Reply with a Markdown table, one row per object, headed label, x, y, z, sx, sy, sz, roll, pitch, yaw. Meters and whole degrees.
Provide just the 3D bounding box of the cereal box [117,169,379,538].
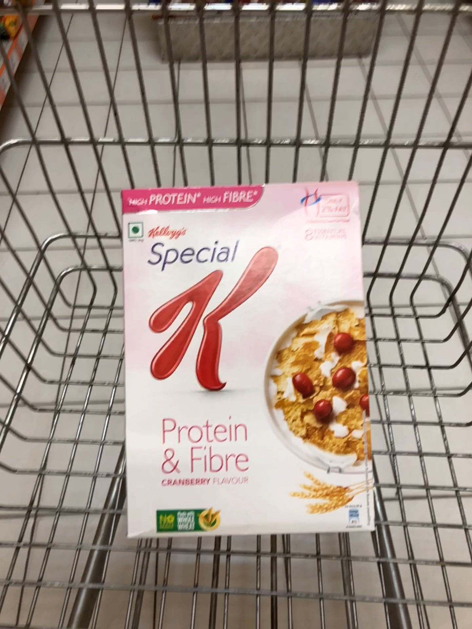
| label | x | y | z | sx | sy | sz | roll | pitch | yaw |
| --- | --- | --- | --- | --- | --- | --- | --- | --- | --- |
| cereal box | 0.008 | 0.028 | 0.437 | 0.190 | 0.100 | 0.270 | -1 | 89 | -1 |
